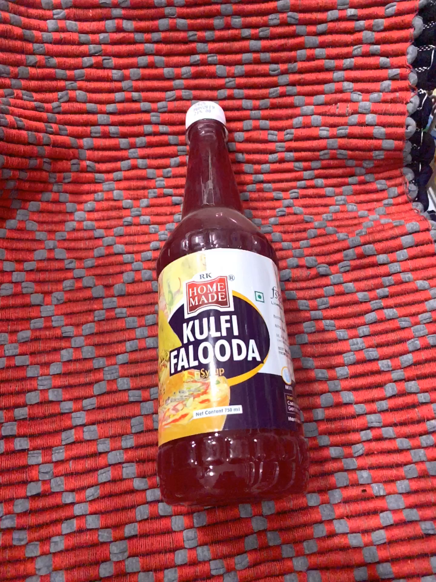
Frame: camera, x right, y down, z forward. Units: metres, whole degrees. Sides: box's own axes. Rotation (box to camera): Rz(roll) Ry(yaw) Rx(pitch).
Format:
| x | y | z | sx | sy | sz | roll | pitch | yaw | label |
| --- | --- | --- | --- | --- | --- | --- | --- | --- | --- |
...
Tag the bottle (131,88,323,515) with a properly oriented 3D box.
| x | y | z | sx | sy | sz | roll | pitch | yaw | label |
| --- | --- | --- | --- | --- | --- | --- | --- | --- | --- |
| -0.005 | -0.015 | 0.265 | 0.070 | 0.070 | 0.251 | -3 | 55 | -2 | bottle |
